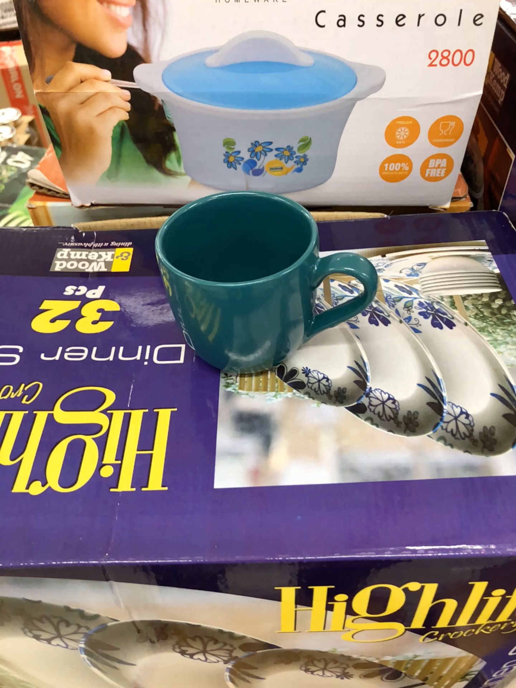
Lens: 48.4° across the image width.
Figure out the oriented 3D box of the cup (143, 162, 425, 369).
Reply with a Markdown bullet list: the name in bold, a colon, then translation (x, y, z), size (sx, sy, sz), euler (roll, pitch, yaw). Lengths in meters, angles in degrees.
- **cup**: translation (0.008, -0.031, 0.222), size (0.090, 0.050, 0.060), euler (-2, 46, 0)
